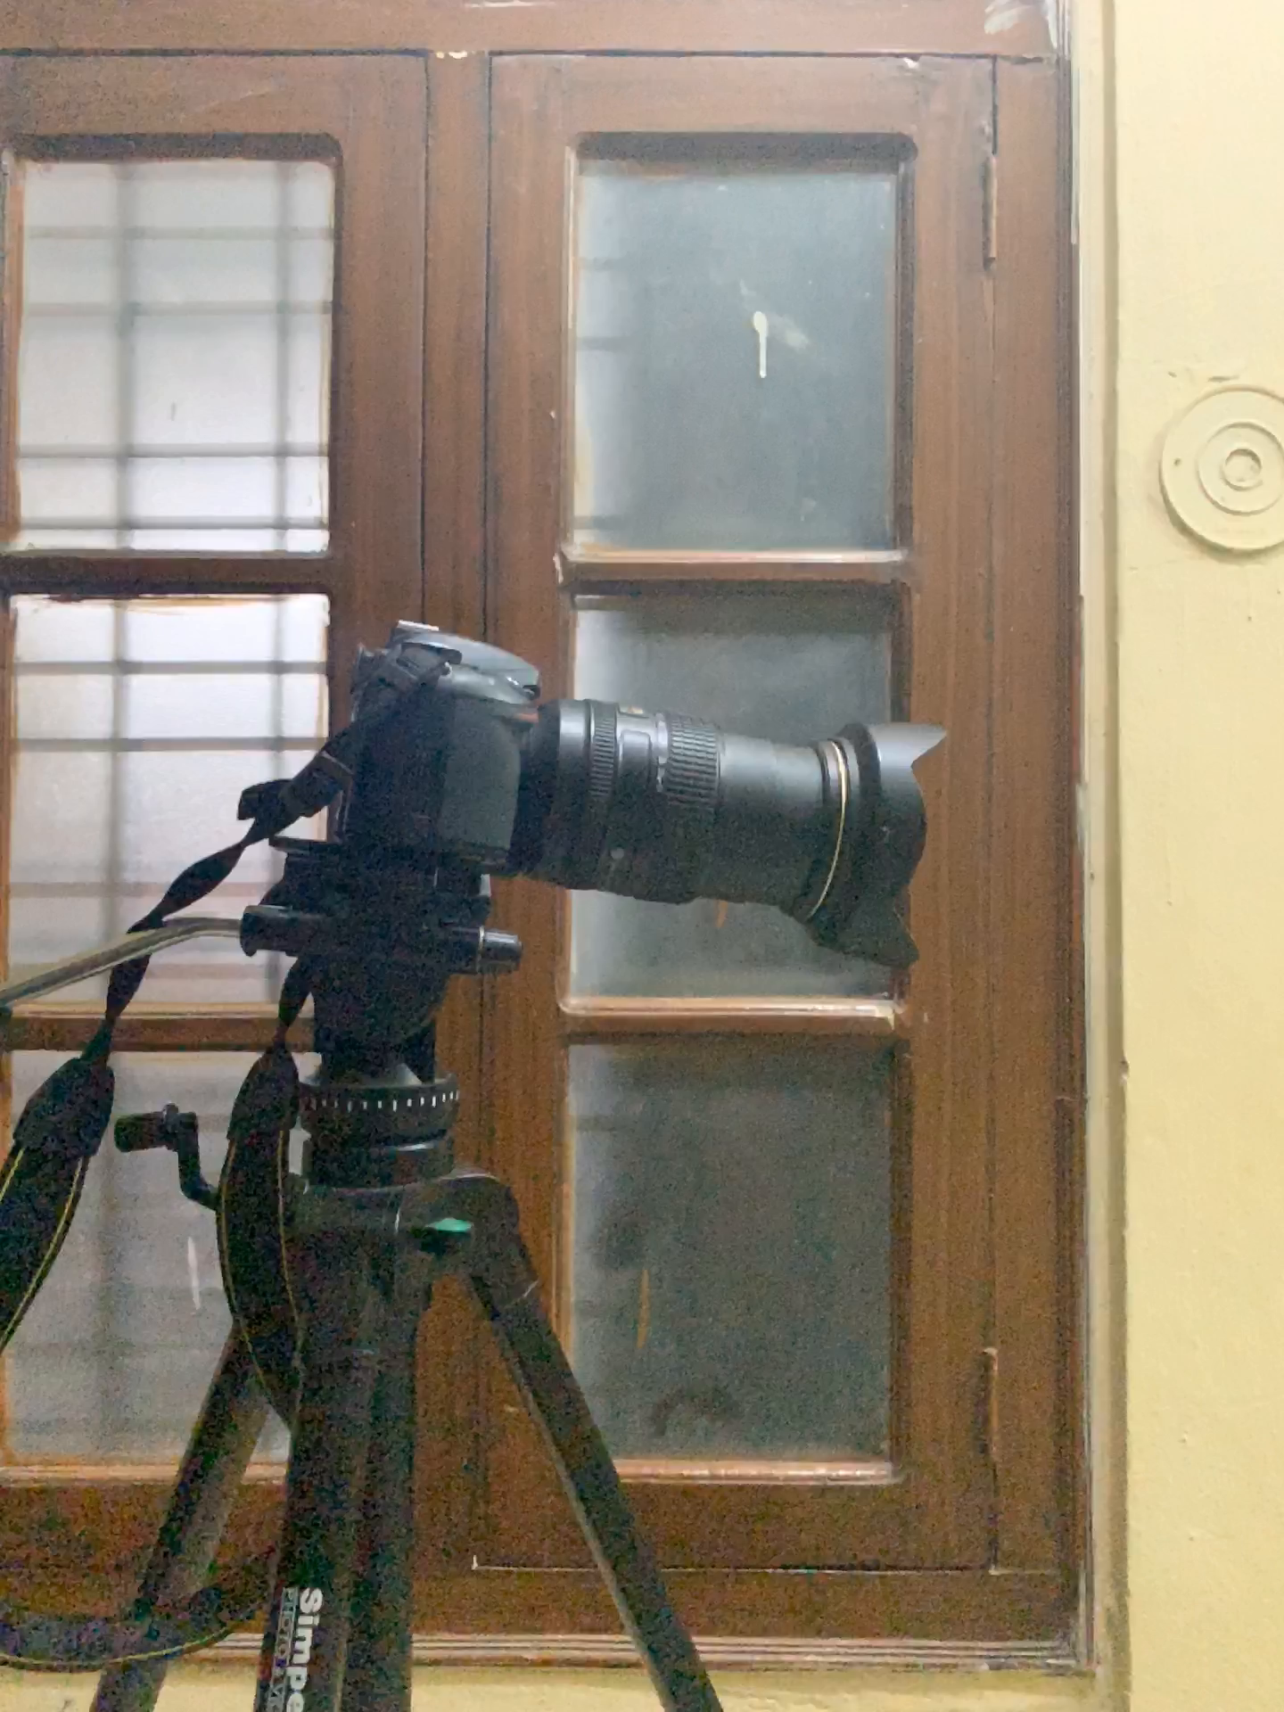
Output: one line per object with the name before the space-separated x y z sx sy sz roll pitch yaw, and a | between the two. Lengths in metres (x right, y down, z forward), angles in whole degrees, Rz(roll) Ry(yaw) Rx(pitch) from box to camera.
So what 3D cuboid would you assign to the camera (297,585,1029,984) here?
camera | 0.006 -0.024 0.569 0.270 0.120 0.130 7 -2 -6
